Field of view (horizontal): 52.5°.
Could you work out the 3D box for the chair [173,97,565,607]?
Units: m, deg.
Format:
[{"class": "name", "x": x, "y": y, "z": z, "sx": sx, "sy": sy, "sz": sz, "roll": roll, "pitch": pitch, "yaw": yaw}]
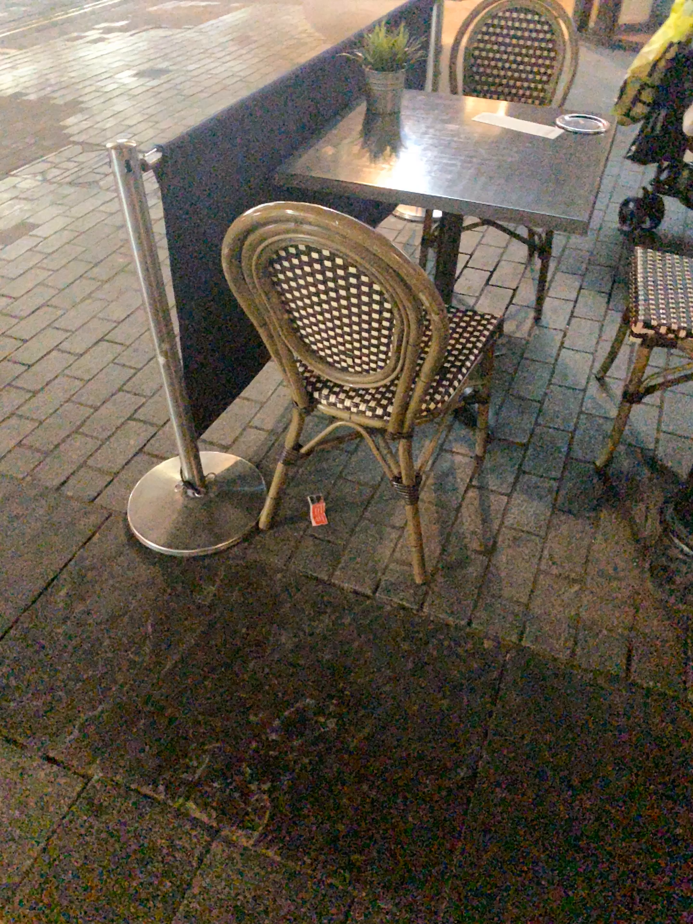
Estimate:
[{"class": "chair", "x": 0.072, "y": -0.242, "z": 1.511, "sx": 0.511, "sy": 0.792, "sz": 0.605, "roll": 16, "pitch": 44, "yaw": 17}]
